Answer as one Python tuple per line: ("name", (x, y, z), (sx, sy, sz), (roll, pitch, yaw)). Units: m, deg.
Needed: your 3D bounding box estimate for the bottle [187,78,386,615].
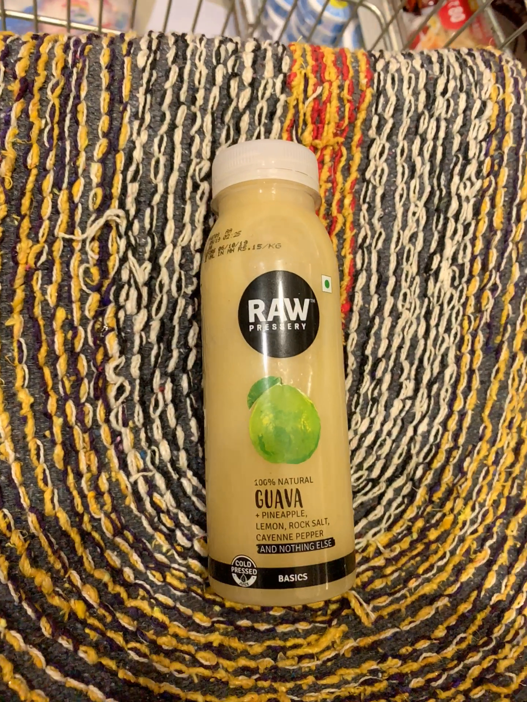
("bottle", (0.003, -0.005, 0.185), (0.050, 0.040, 0.160), (-2, 82, -10))
